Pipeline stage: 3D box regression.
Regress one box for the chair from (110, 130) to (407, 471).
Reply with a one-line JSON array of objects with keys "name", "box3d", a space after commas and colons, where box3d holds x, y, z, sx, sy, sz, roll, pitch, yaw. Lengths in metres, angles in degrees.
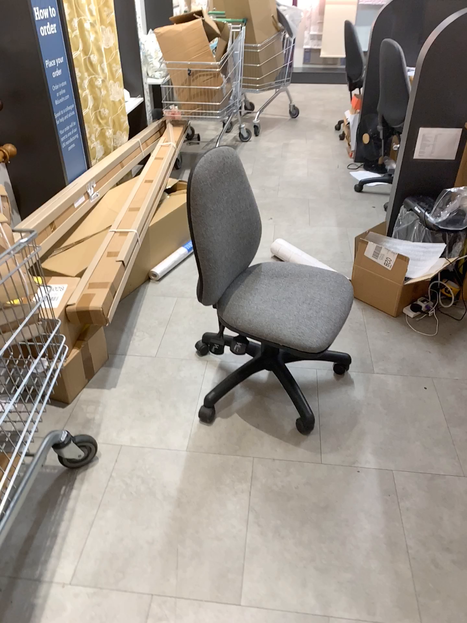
[{"name": "chair", "box3d": [0.107, -0.082, 1.519, 0.625, 0.749, 0.632, 15, 38, 20]}]
